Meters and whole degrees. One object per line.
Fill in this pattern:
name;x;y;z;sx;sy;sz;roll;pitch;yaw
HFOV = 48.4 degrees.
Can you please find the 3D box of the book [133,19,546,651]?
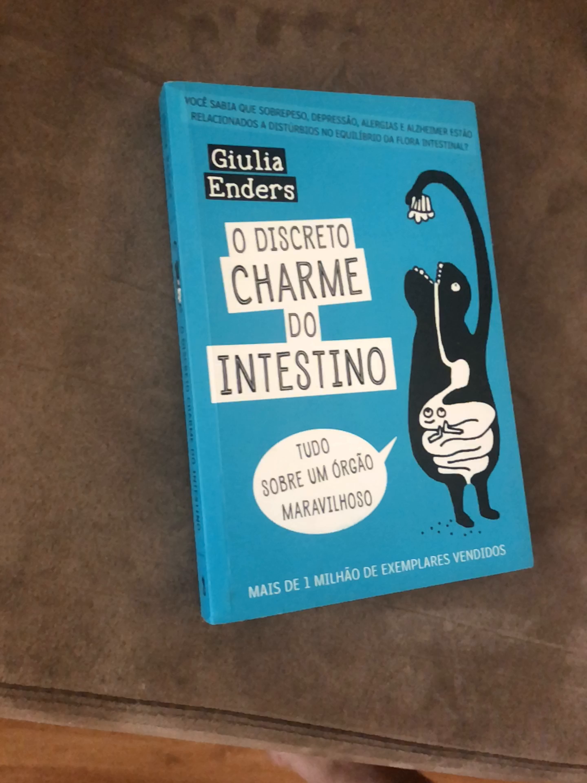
book;0.018;-0.027;0.260;0.140;0.030;0.220;-4;84;-19
